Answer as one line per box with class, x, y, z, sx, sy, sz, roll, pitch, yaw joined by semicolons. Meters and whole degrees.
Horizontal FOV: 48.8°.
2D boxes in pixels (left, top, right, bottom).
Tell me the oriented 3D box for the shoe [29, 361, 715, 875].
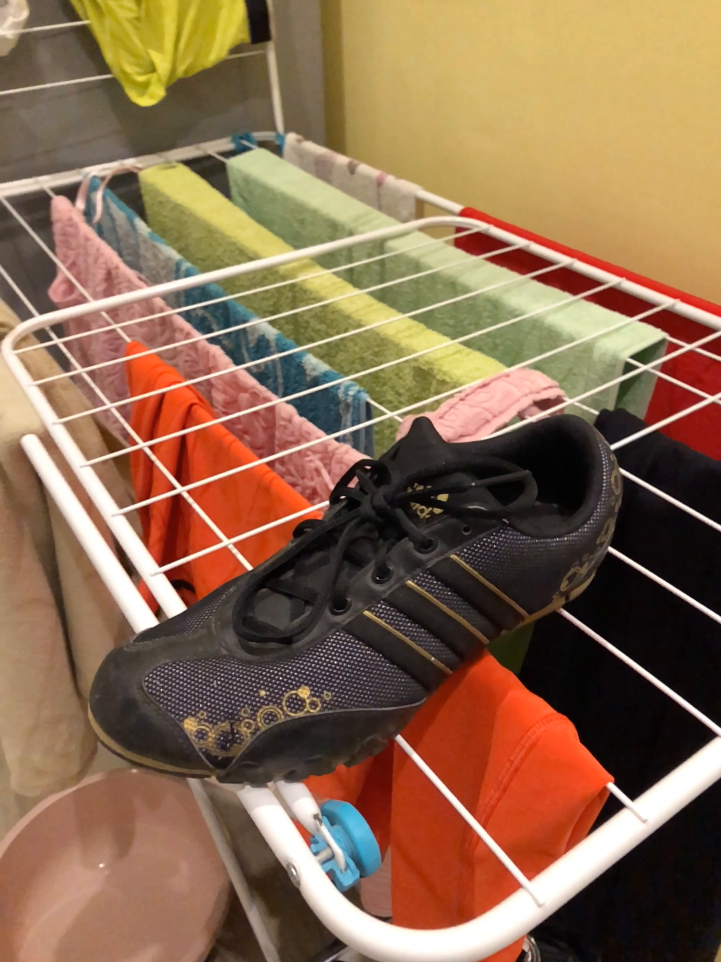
shoe;0.011;0.043;0.349;0.261;0.099;0.099;-18;39;-21
